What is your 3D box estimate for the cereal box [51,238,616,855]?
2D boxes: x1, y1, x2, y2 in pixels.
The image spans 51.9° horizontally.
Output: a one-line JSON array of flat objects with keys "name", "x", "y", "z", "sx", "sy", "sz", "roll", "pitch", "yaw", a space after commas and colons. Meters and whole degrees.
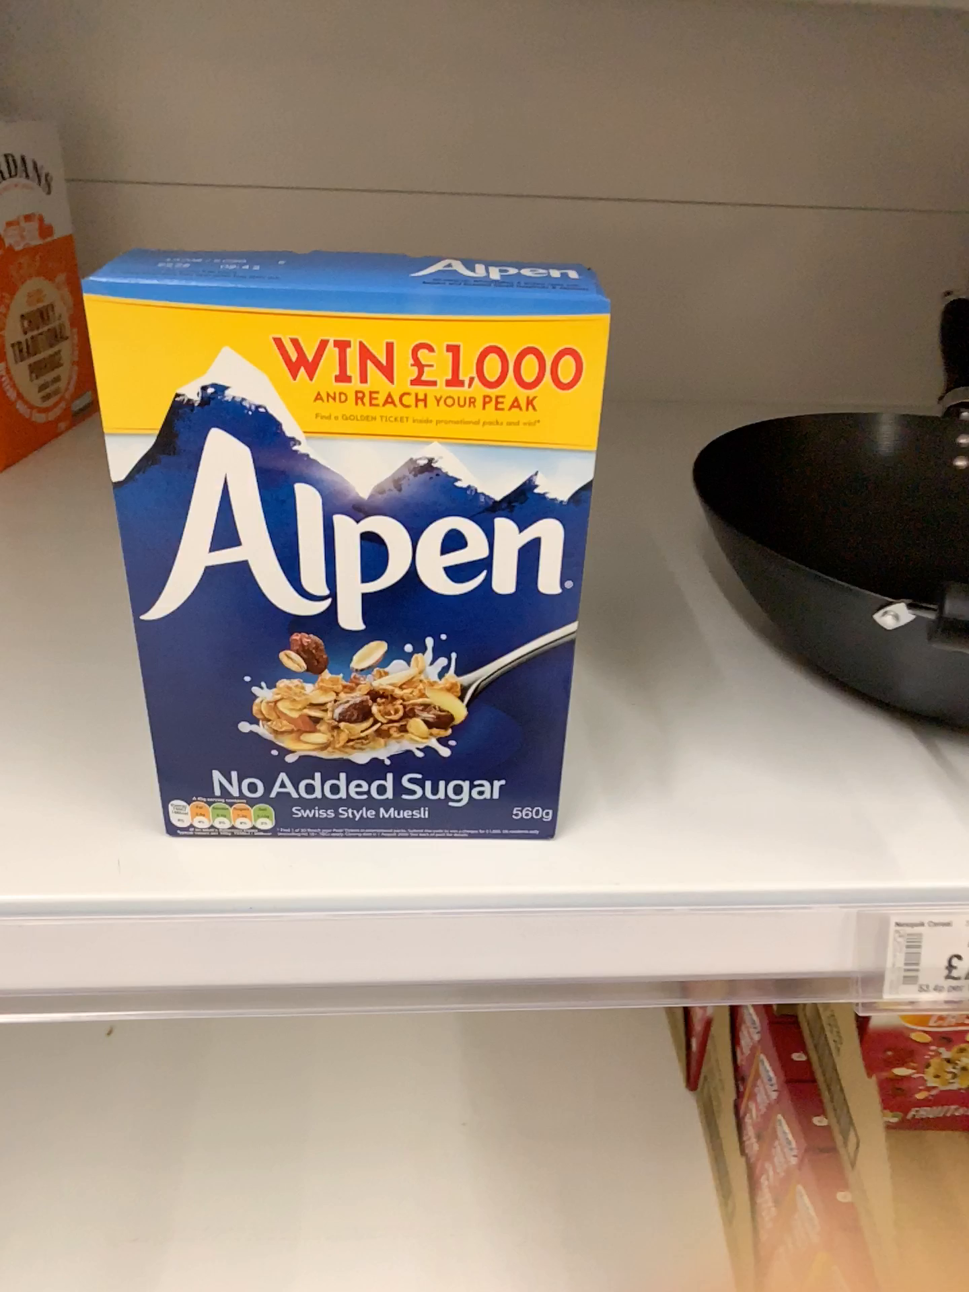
[{"name": "cereal box", "x": -0.053, "y": -0.029, "z": 0.403, "sx": 0.180, "sy": 0.238, "sz": 0.061, "roll": 1, "pitch": 29, "yaw": -2}]
